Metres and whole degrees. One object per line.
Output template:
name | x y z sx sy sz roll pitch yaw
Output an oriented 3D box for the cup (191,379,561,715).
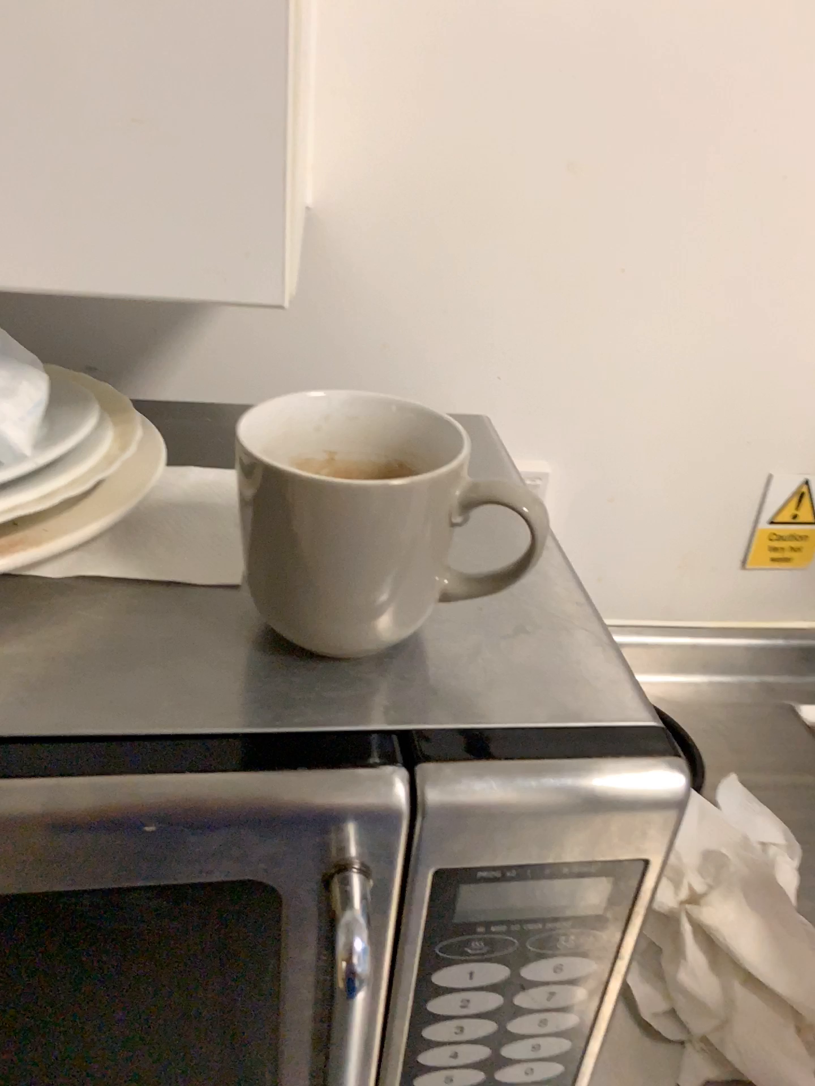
cup | -0.007 -0.005 0.339 0.124 0.079 0.102 9 29 6
